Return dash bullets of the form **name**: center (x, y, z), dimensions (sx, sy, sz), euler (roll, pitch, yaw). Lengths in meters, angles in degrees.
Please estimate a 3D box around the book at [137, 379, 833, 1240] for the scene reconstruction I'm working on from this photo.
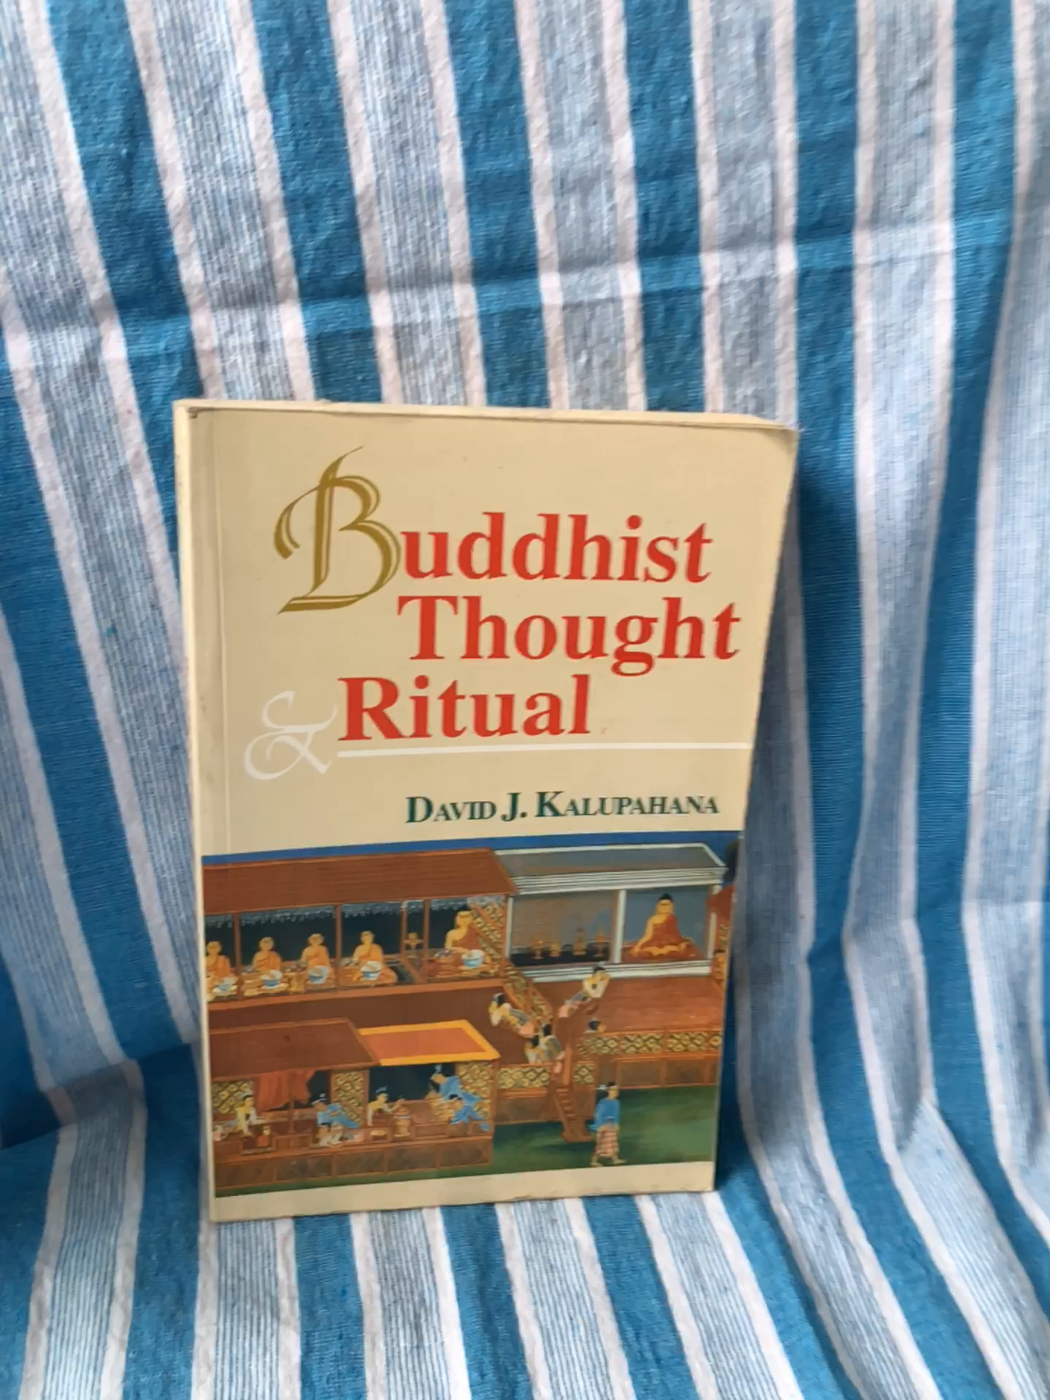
- **book**: center (-0.013, 0.036, 0.296), dimensions (0.150, 0.219, 0.020), euler (0, 20, -10)
